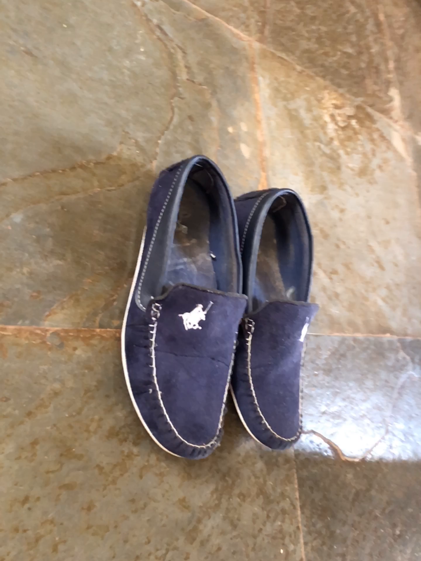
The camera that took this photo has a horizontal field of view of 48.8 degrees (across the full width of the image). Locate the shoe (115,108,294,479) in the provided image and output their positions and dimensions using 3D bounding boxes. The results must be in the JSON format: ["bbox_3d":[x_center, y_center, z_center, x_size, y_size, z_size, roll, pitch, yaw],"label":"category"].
[{"bbox_3d":[-0.011,0.012,0.381,0.101,0.089,0.260,9,71,-38],"label":"shoe"}]

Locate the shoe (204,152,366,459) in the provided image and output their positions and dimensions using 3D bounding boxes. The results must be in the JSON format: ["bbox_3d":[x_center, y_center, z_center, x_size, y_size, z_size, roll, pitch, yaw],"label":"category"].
[{"bbox_3d":[0.066,0.026,0.450,0.101,0.089,0.260,9,71,-38],"label":"shoe"}]
